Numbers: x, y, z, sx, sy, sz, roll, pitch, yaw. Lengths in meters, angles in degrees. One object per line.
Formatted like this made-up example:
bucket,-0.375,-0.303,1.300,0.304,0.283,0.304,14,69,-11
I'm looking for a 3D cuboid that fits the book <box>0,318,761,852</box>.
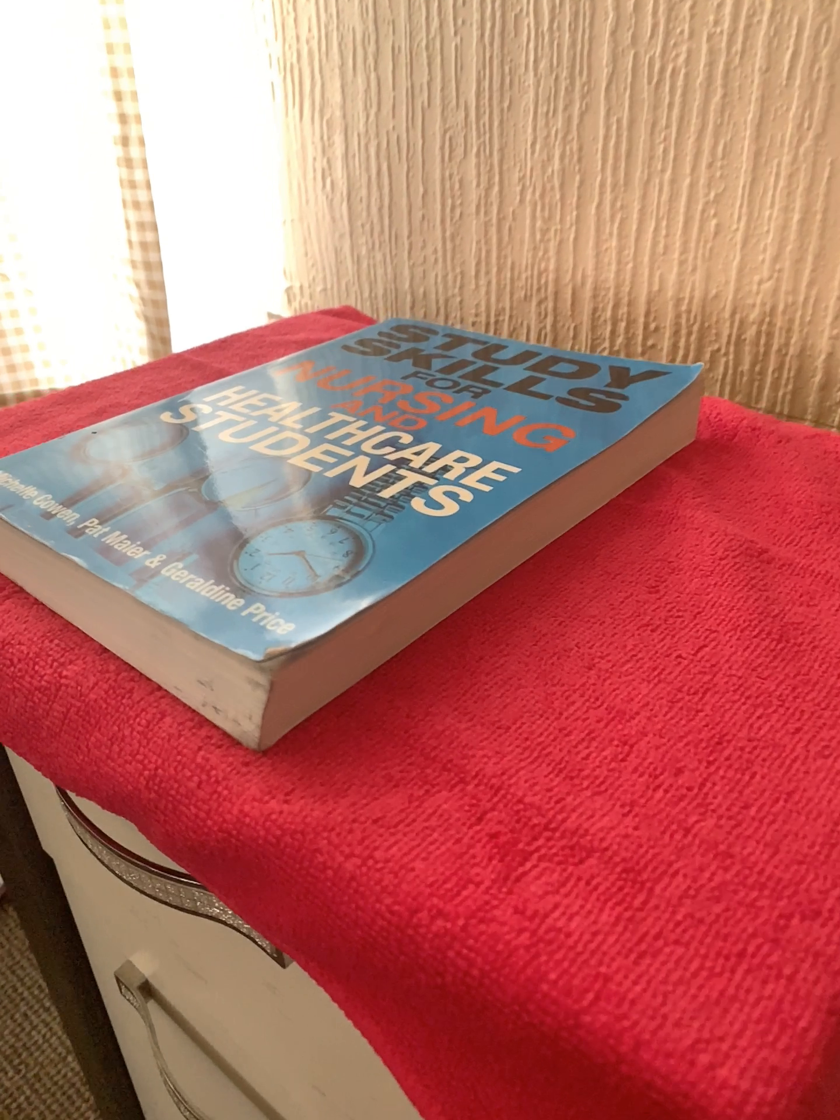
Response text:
book,-0.018,-0.033,0.340,0.201,0.040,0.271,21,36,33
